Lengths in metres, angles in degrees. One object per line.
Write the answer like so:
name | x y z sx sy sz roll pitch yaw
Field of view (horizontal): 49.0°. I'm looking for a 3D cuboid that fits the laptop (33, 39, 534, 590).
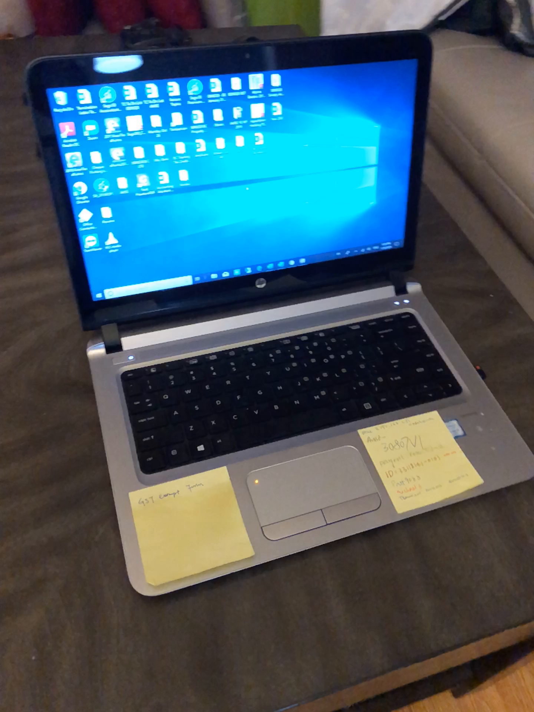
laptop | 0.027 -0.055 0.445 0.319 0.208 0.308 -12 53 -14
